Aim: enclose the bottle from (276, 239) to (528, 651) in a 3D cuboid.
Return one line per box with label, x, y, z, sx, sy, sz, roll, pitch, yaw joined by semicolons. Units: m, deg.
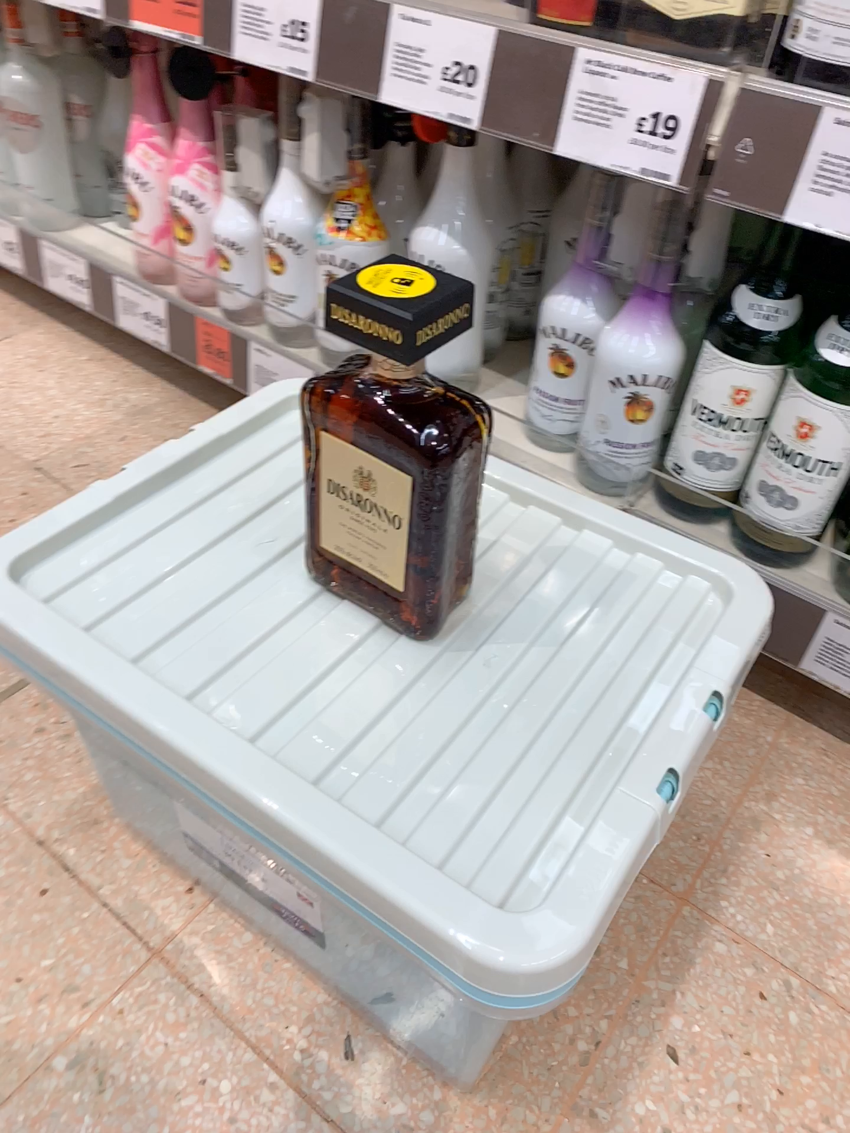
bottle;-0.019;-0.067;0.517;0.111;0.208;0.070;29;46;24
